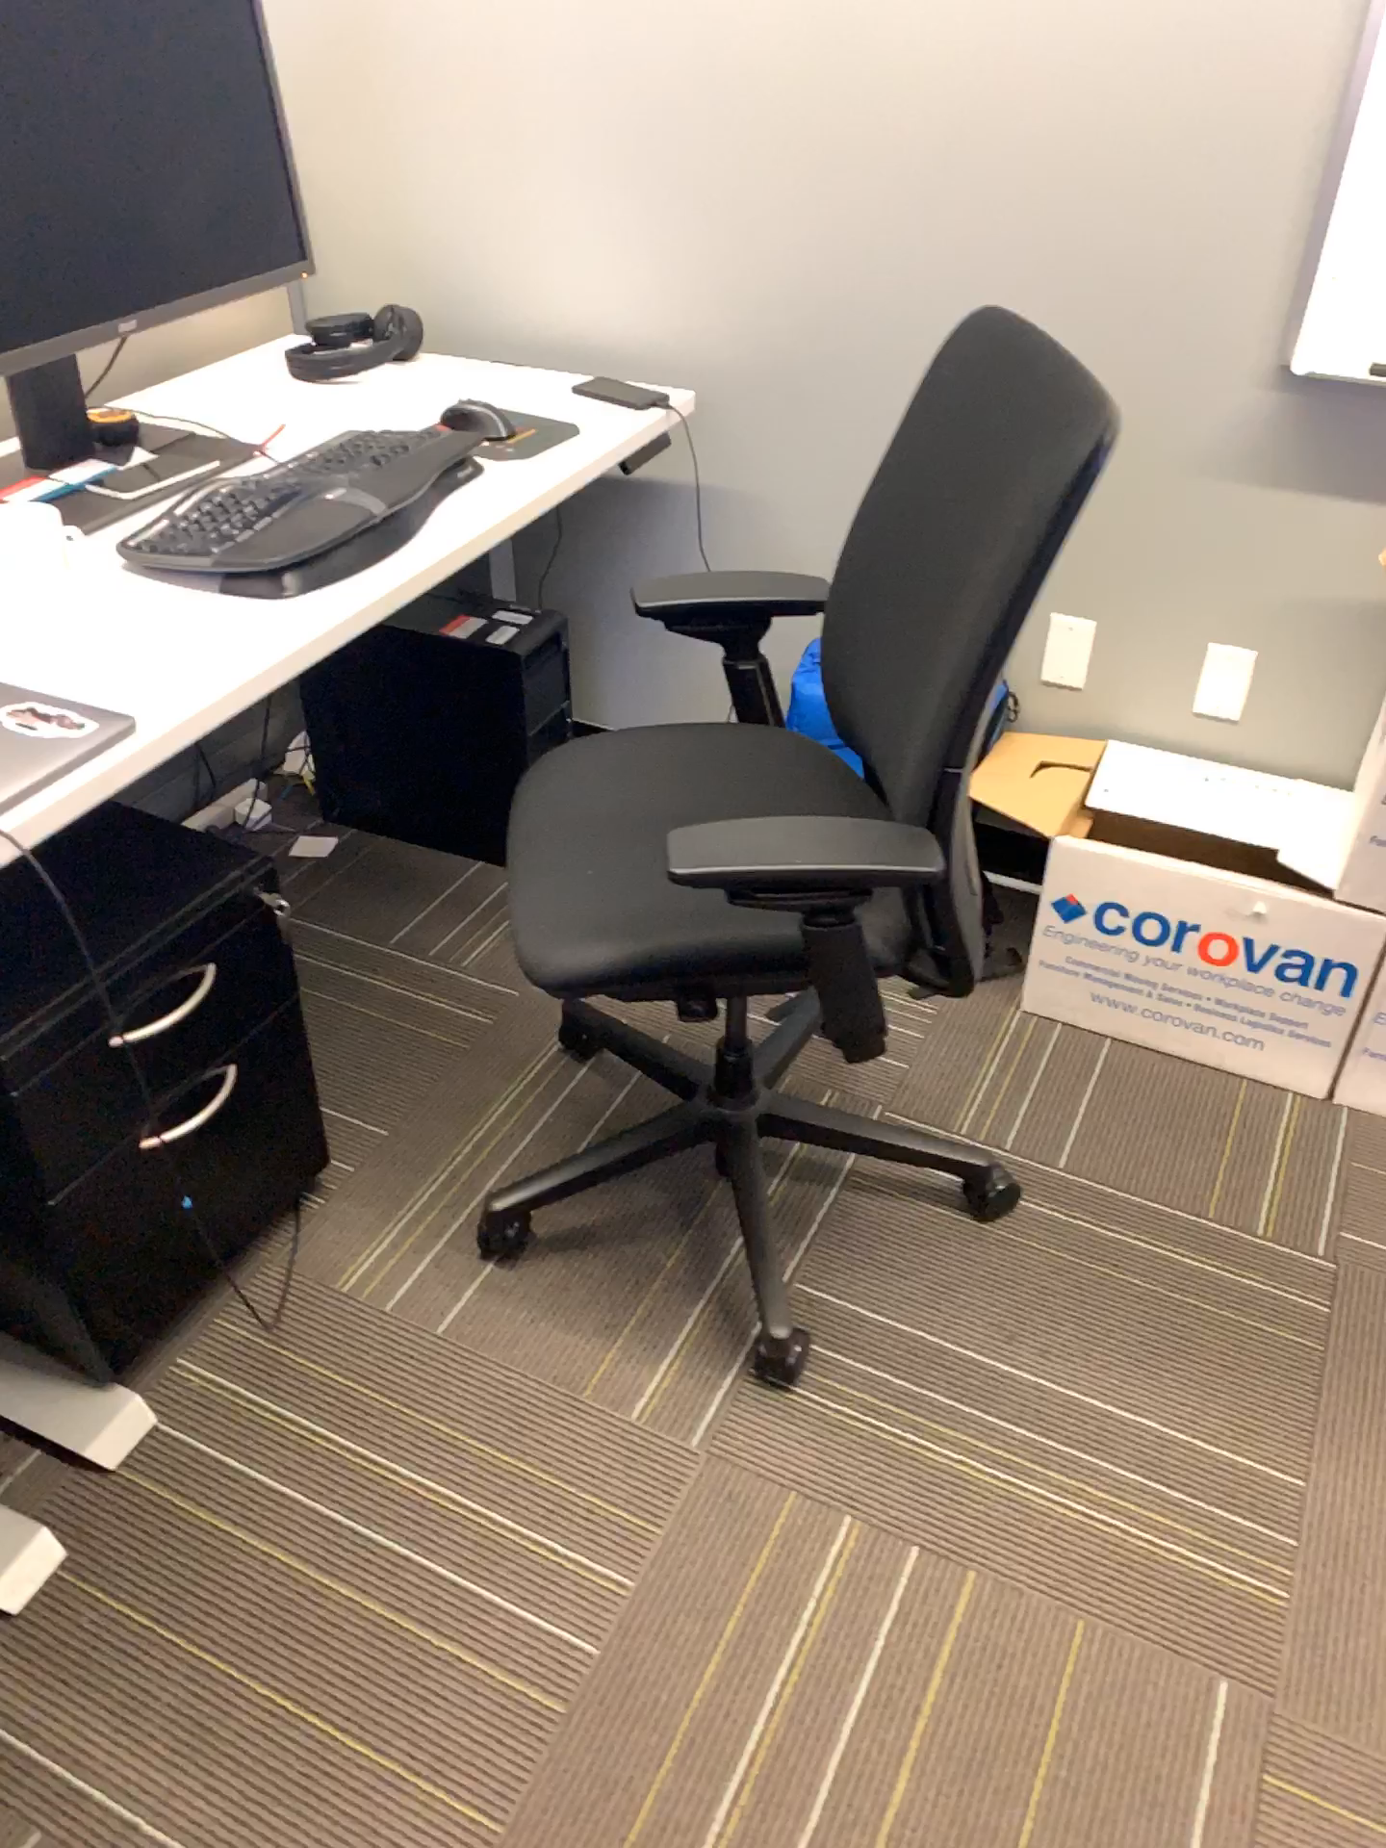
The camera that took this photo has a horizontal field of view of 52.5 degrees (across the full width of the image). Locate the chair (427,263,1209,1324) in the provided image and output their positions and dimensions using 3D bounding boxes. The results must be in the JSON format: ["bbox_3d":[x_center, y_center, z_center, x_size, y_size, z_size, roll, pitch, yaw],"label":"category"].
[{"bbox_3d":[0.037,-0.195,1.703,0.610,0.945,0.835,-5,37,-9],"label":"chair"}]
